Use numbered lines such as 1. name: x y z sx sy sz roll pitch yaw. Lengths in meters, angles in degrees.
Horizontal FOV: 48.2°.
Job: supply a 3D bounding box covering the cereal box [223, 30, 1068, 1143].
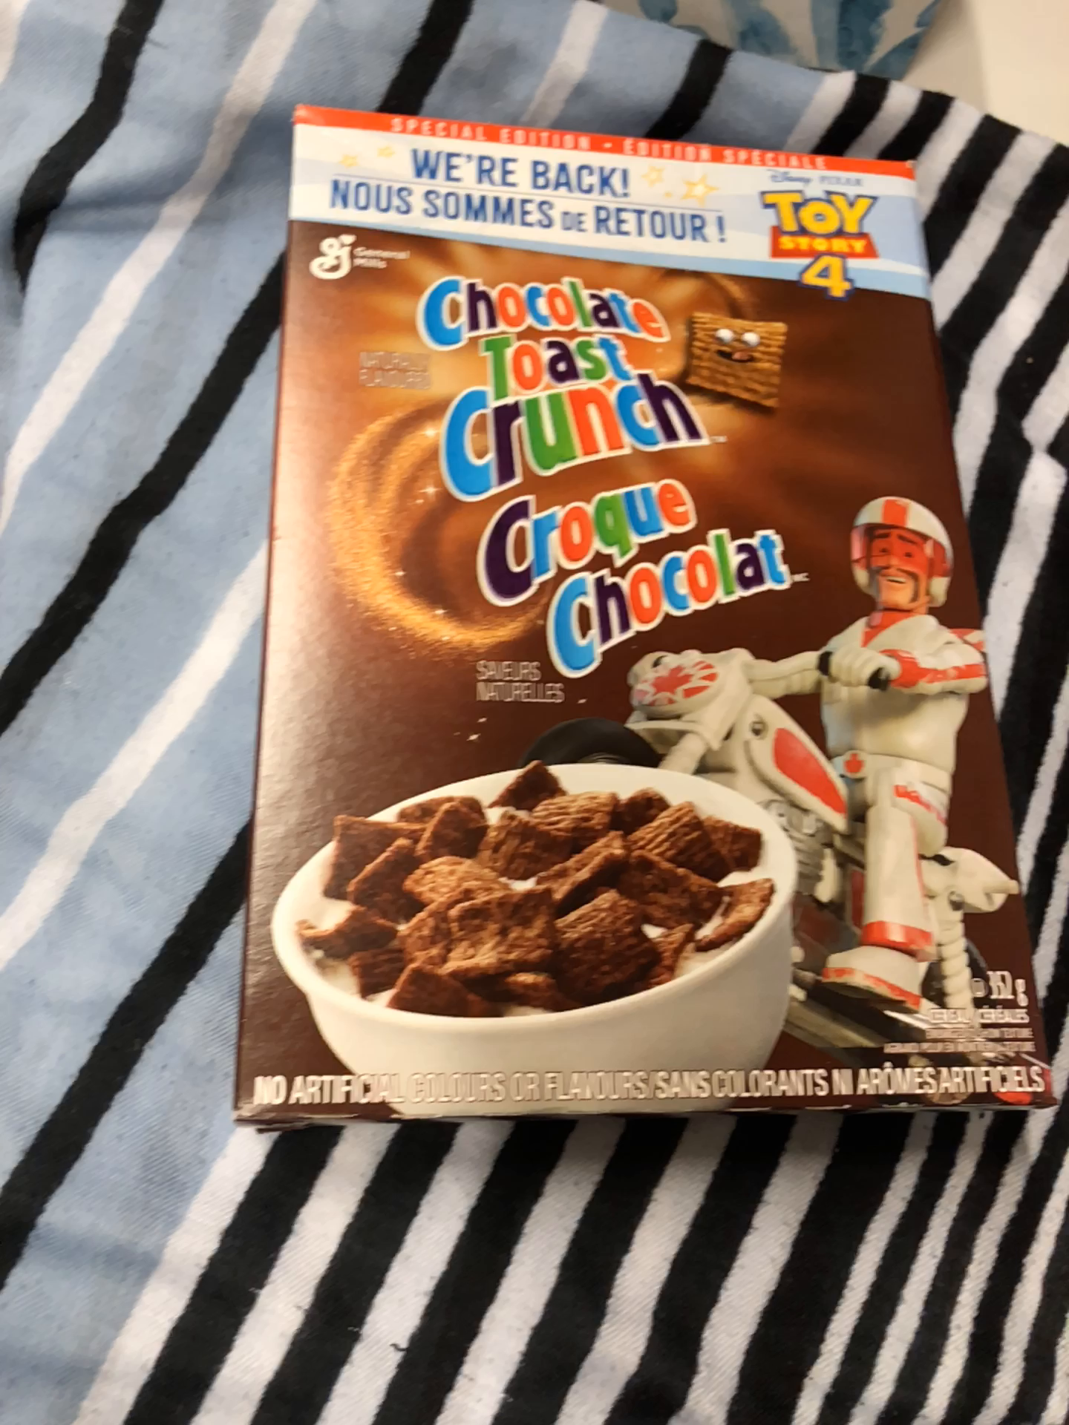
1. cereal box: 0.030 -0.040 0.343 0.210 0.060 0.300 1 73 -9
